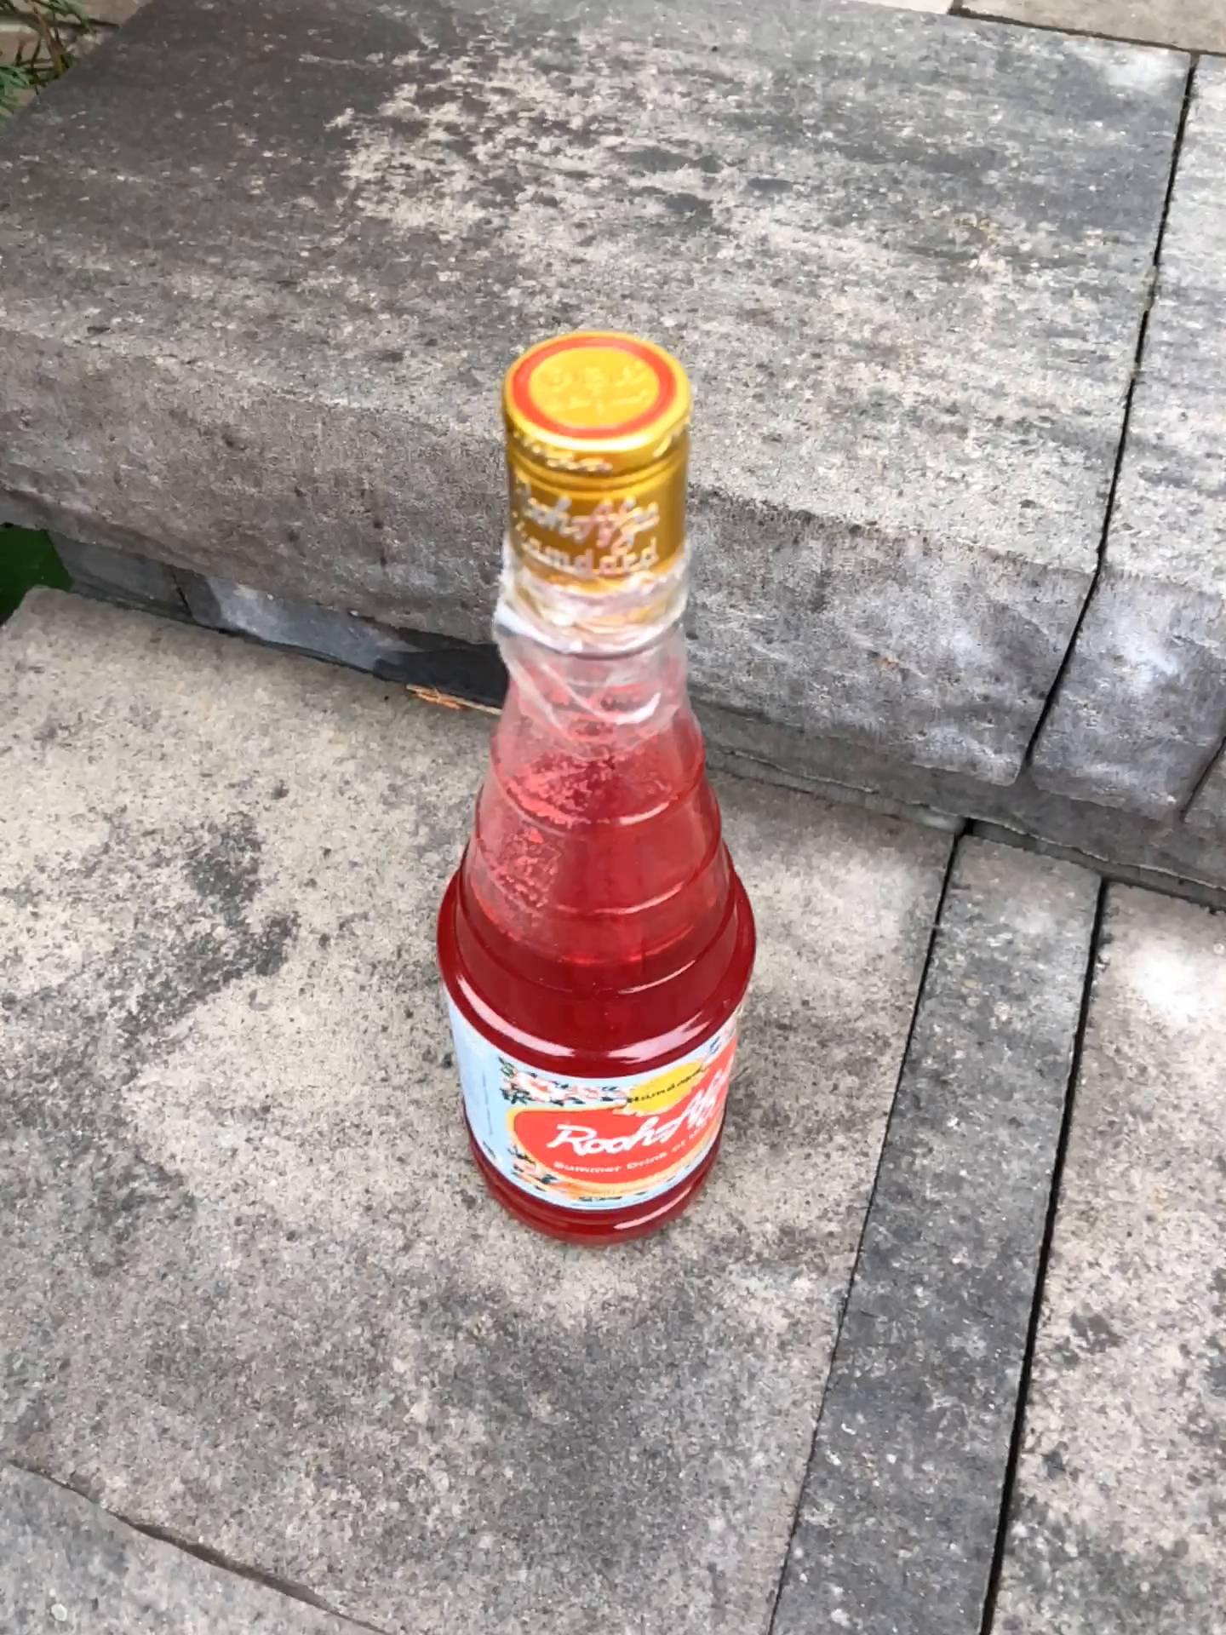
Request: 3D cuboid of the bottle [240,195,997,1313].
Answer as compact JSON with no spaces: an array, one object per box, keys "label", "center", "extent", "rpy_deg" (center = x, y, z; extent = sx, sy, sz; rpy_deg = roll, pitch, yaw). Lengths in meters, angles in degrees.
[{"label":"bottle","center":[-0.004,0.018,0.317],"extent":[0.090,0.279,0.080],"rpy_deg":[-18,56,-14]}]
